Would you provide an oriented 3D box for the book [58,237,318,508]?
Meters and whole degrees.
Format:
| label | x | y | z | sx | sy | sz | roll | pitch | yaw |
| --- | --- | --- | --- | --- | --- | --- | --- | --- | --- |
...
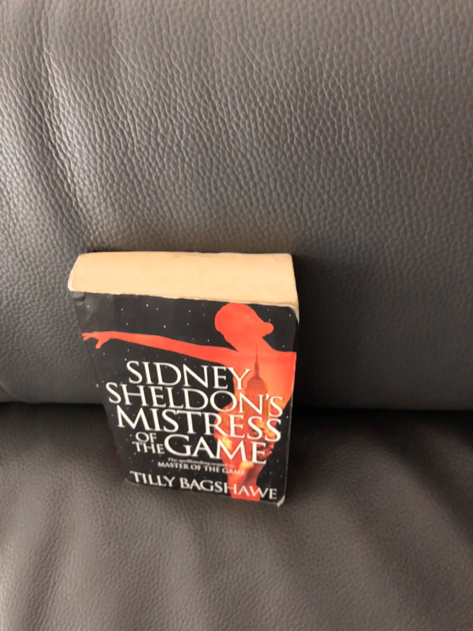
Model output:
| label | x | y | z | sx | sy | sz | roll | pitch | yaw |
| --- | --- | --- | --- | --- | --- | --- | --- | --- | --- |
| book | -0.018 | 0.043 | 0.318 | 0.118 | 0.179 | 0.046 | 5 | 44 | 9 |
